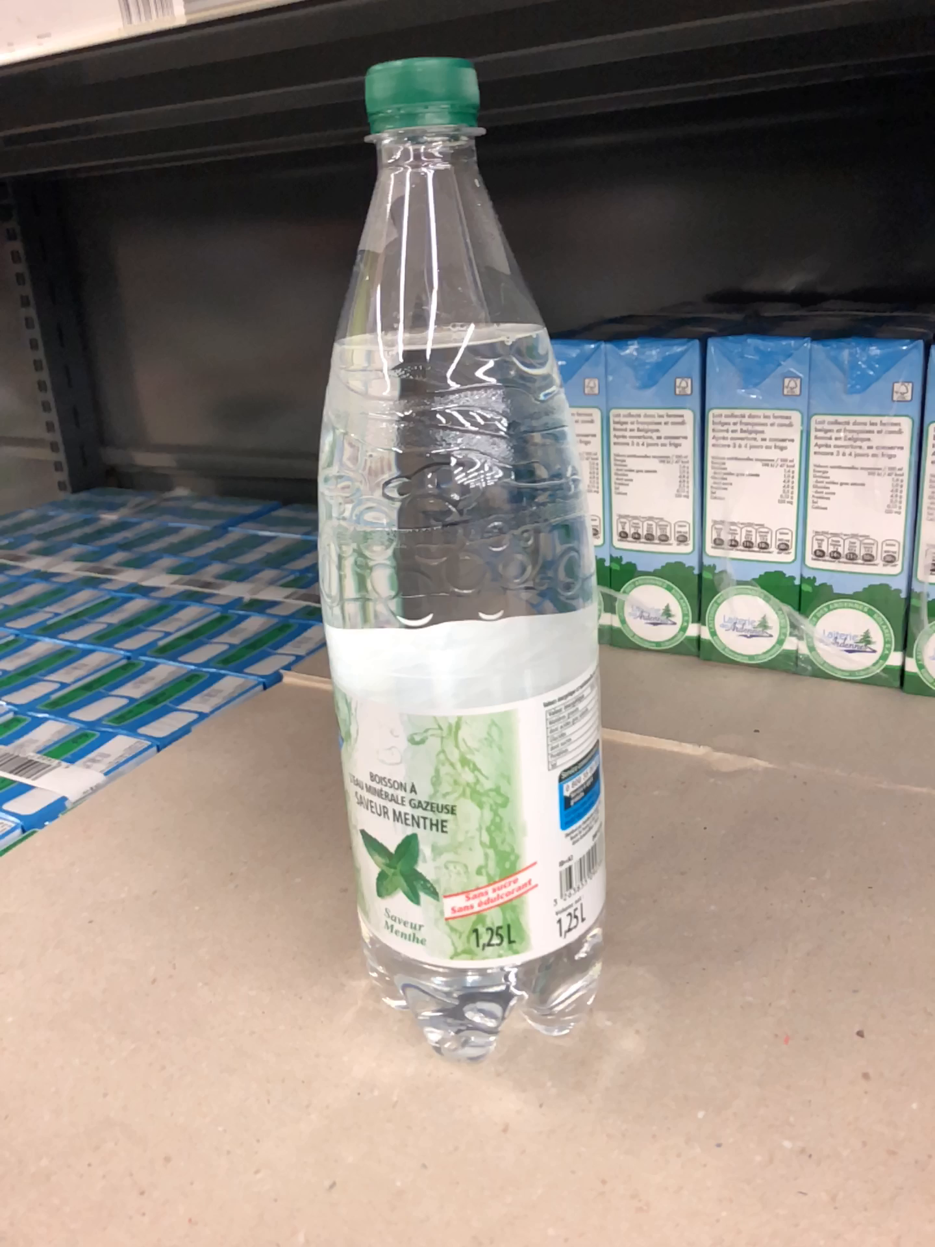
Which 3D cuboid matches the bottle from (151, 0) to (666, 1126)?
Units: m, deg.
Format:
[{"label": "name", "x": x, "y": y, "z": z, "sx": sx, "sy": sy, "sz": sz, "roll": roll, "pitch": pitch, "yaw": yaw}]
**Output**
[{"label": "bottle", "x": -0.004, "y": -0.012, "z": 0.320, "sx": 0.100, "sy": 0.299, "sz": 0.090, "roll": 9, "pitch": 23, "yaw": 33}]
